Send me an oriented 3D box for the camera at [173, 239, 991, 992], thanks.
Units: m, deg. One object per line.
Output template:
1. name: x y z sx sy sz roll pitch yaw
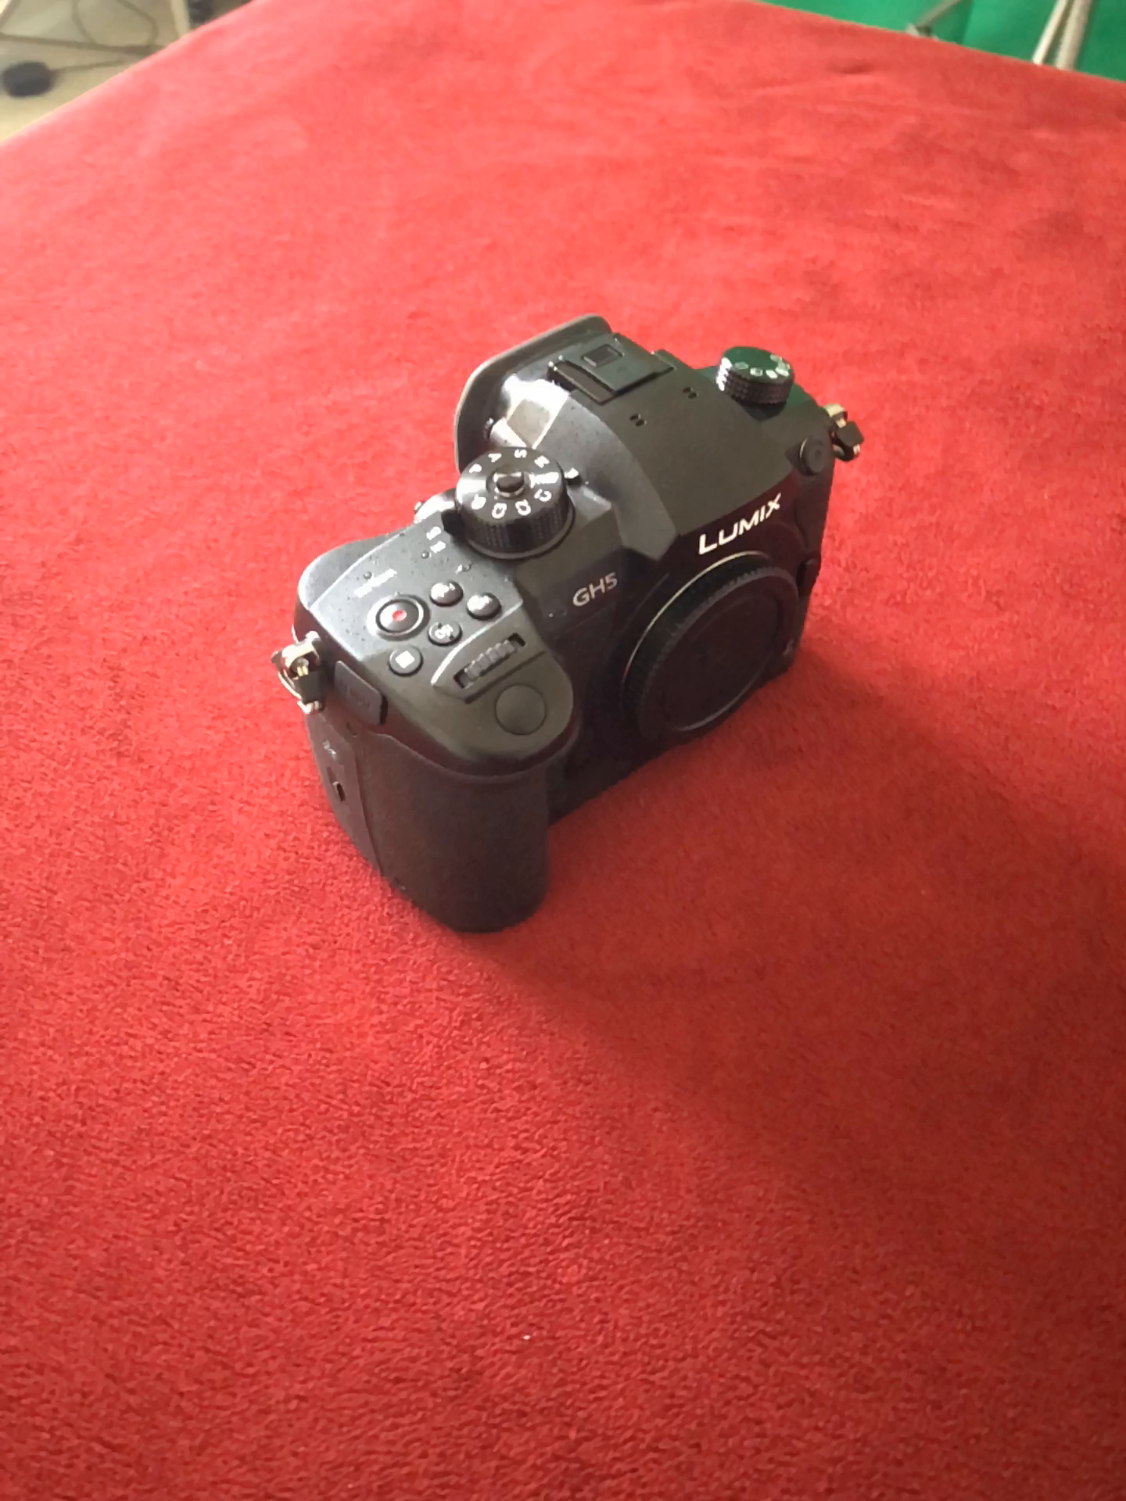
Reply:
1. camera: 0.007 -0.036 0.292 0.148 0.087 0.086 -32 58 -23
